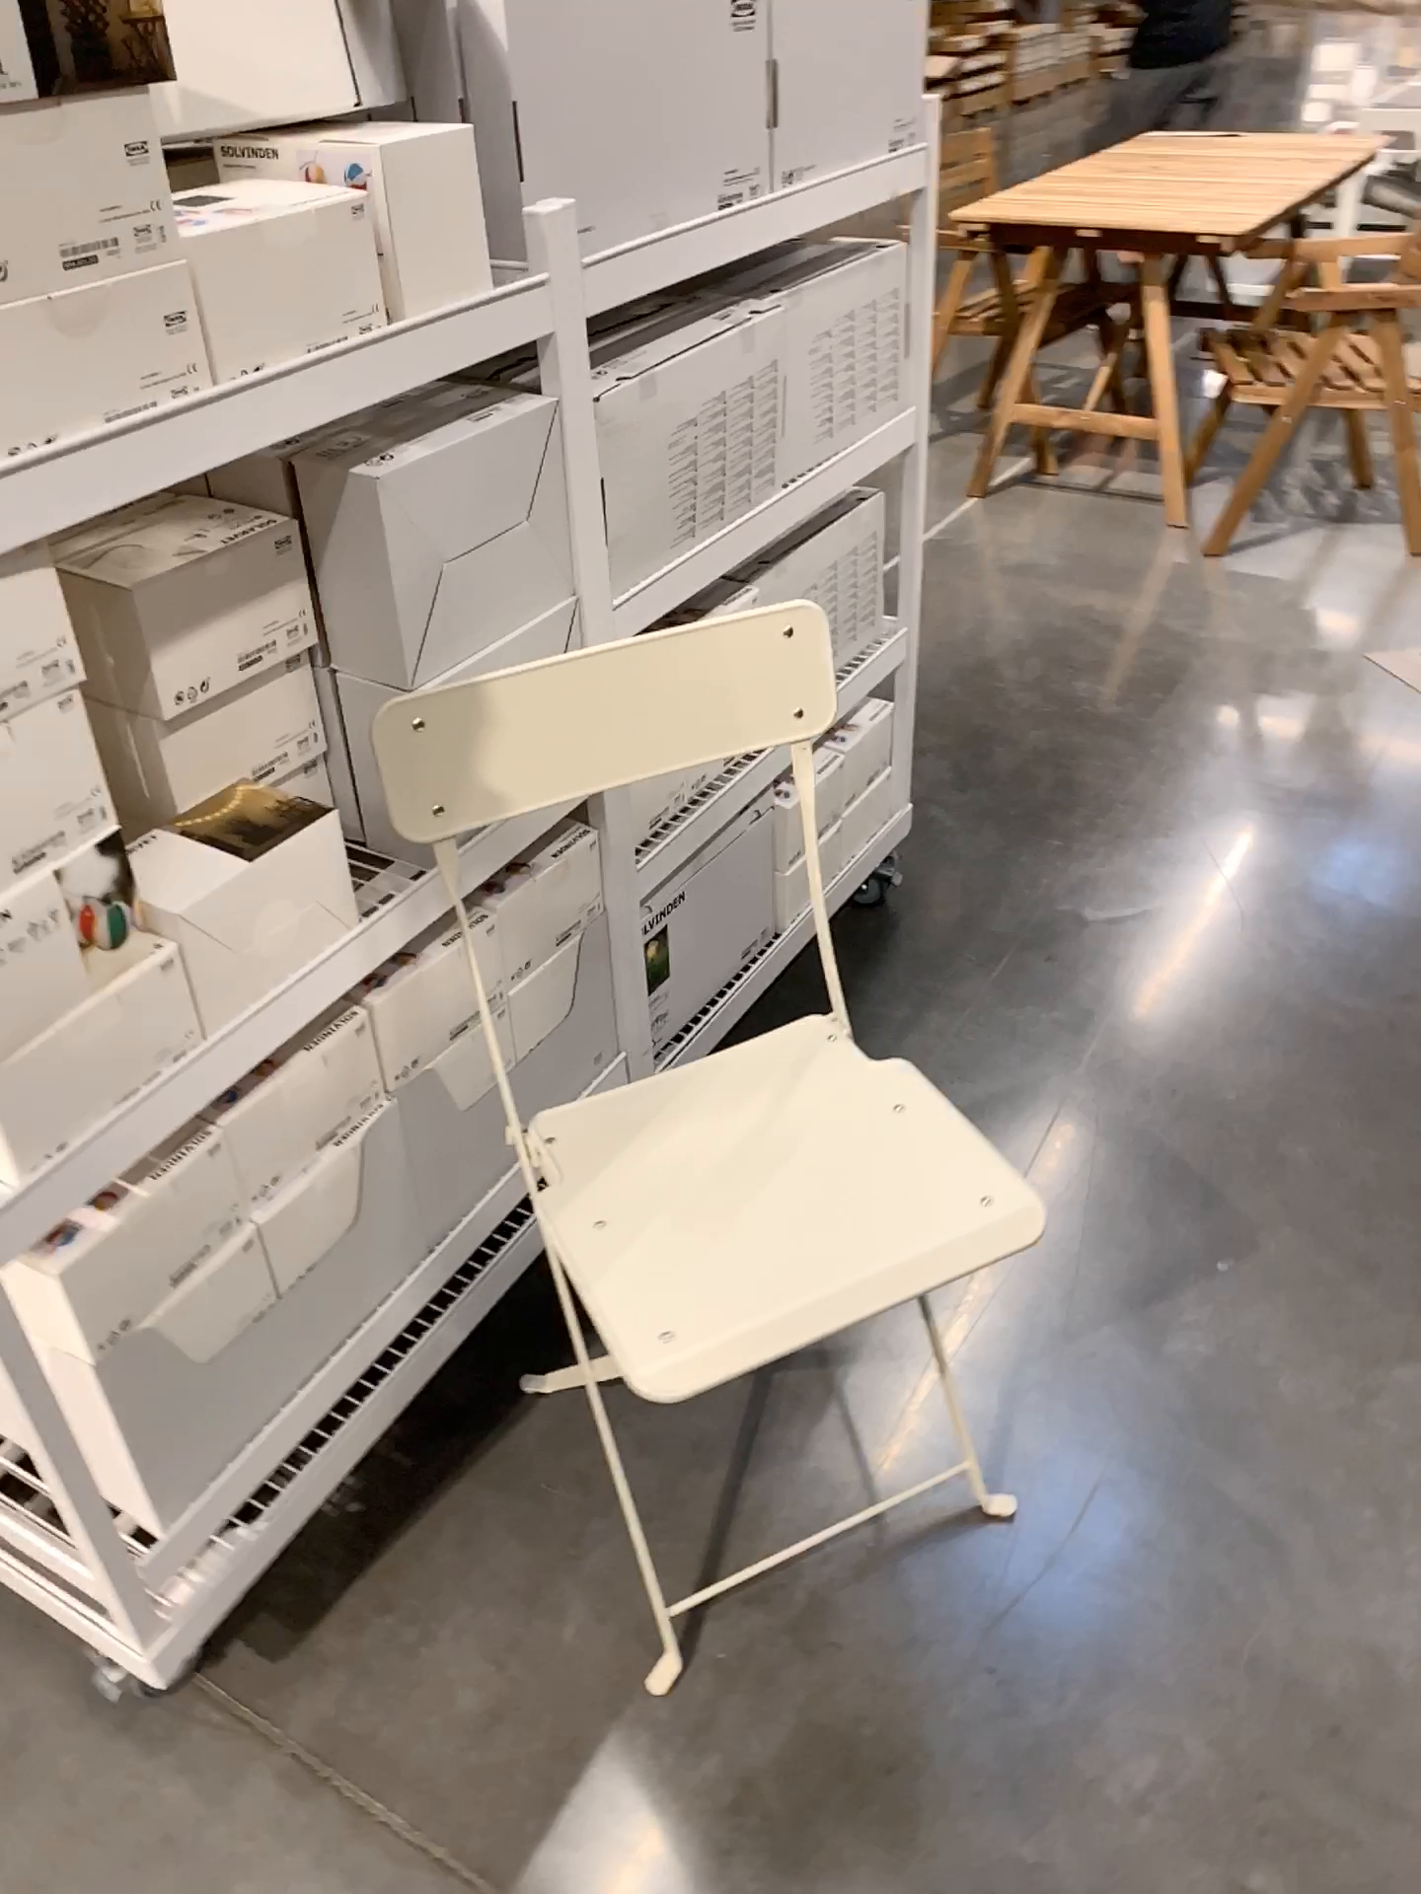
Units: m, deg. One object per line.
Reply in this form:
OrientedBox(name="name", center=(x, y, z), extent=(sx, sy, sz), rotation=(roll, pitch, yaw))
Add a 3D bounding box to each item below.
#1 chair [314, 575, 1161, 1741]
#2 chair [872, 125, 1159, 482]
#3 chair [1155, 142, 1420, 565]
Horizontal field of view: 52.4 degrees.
OrientedBox(name="chair", center=(0.009, 0.173, 1.245), extent=(0.437, 0.783, 0.459), rotation=(-18, 37, -20))
OrientedBox(name="chair", center=(0.811, -1.756, 3.917), extent=(0.548, 0.763, 0.539), rotation=(17, 40, 27))
OrientedBox(name="chair", center=(1.371, -1.340, 3.268), extent=(0.547, 0.763, 0.590), rotation=(2, 35, 8))
